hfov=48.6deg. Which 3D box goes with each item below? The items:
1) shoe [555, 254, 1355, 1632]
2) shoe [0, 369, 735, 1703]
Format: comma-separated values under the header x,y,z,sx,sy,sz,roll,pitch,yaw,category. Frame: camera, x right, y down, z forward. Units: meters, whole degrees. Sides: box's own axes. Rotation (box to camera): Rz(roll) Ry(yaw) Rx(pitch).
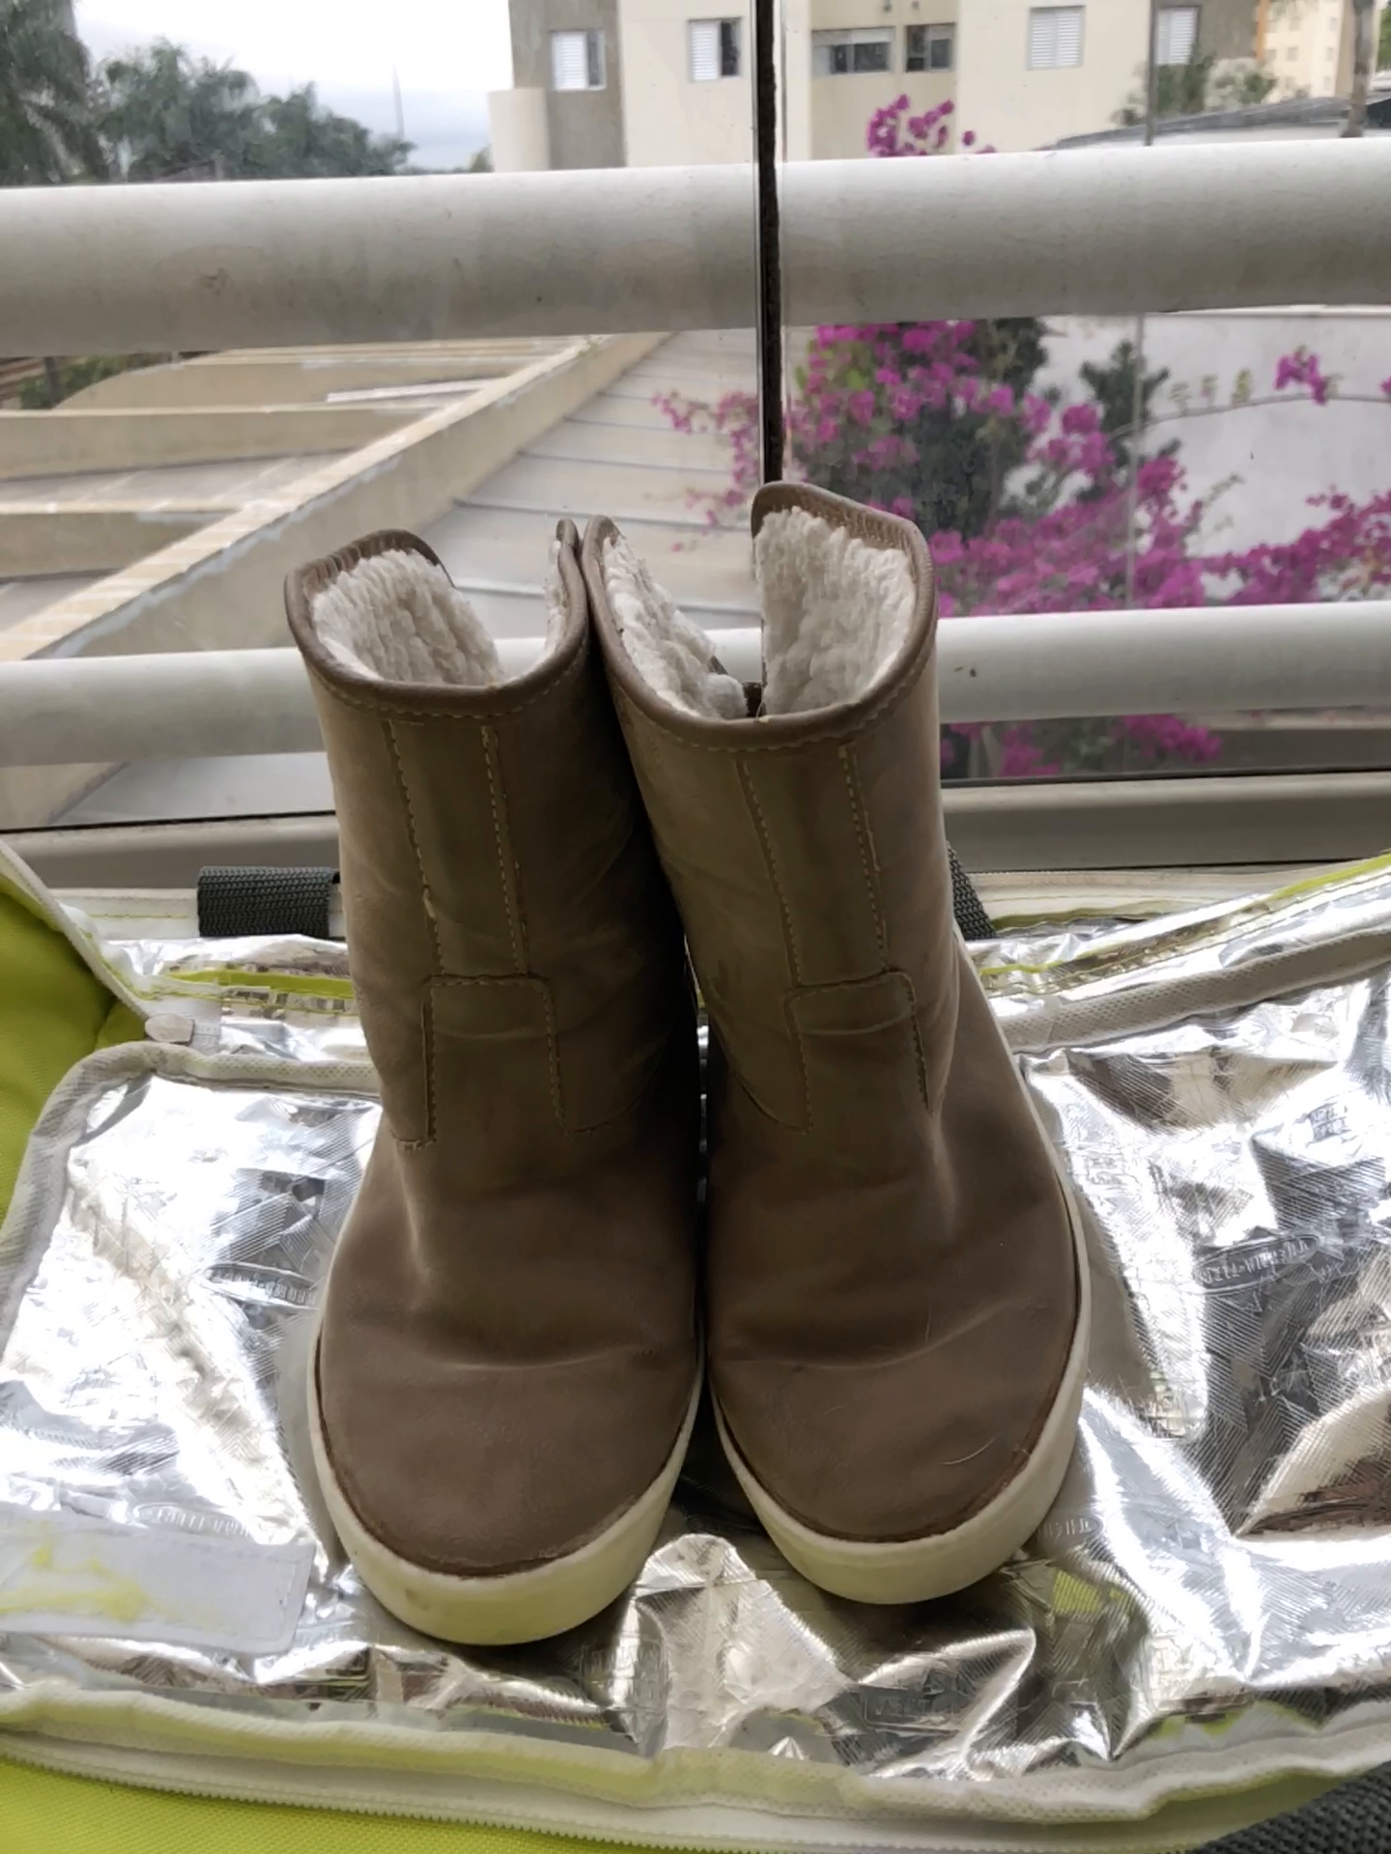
x,y,z,sx,sy,sz,roll,pitch,yaw,category
0.030,0.002,0.301,0.089,0.168,0.202,-6,49,1,shoe
-0.047,0.023,0.301,0.089,0.168,0.192,-5,49,4,shoe
